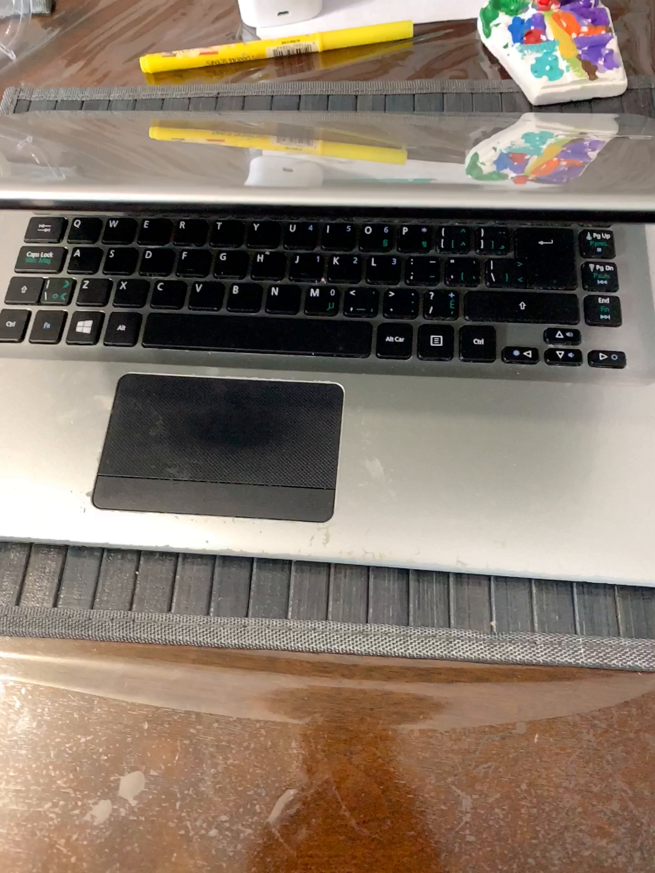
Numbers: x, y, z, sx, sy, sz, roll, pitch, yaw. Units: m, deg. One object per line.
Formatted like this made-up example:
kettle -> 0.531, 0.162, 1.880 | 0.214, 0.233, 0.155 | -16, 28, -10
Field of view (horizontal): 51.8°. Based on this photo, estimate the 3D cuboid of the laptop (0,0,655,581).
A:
laptop -> -0.019, -0.083, 0.262 | 0.343, 0.141, 0.225 | 3, 68, 5
